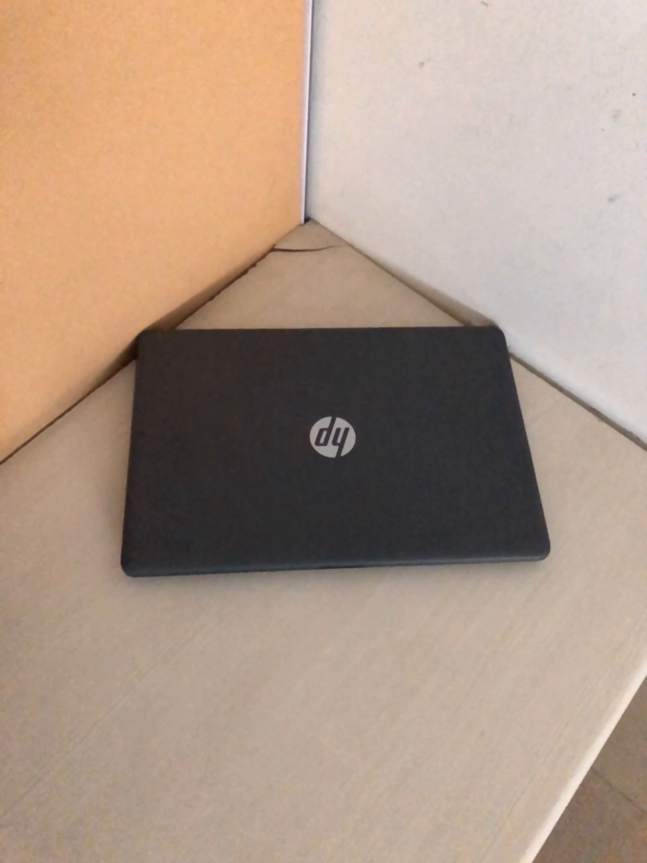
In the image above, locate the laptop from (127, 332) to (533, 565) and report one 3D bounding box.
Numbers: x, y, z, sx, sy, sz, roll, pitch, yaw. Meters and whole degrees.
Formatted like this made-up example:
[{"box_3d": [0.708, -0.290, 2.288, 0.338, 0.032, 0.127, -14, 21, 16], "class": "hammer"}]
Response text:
[{"box_3d": [0.003, 0.005, 0.684, 0.356, 0.004, 0.237, -2, 61, -4], "class": "laptop"}]
